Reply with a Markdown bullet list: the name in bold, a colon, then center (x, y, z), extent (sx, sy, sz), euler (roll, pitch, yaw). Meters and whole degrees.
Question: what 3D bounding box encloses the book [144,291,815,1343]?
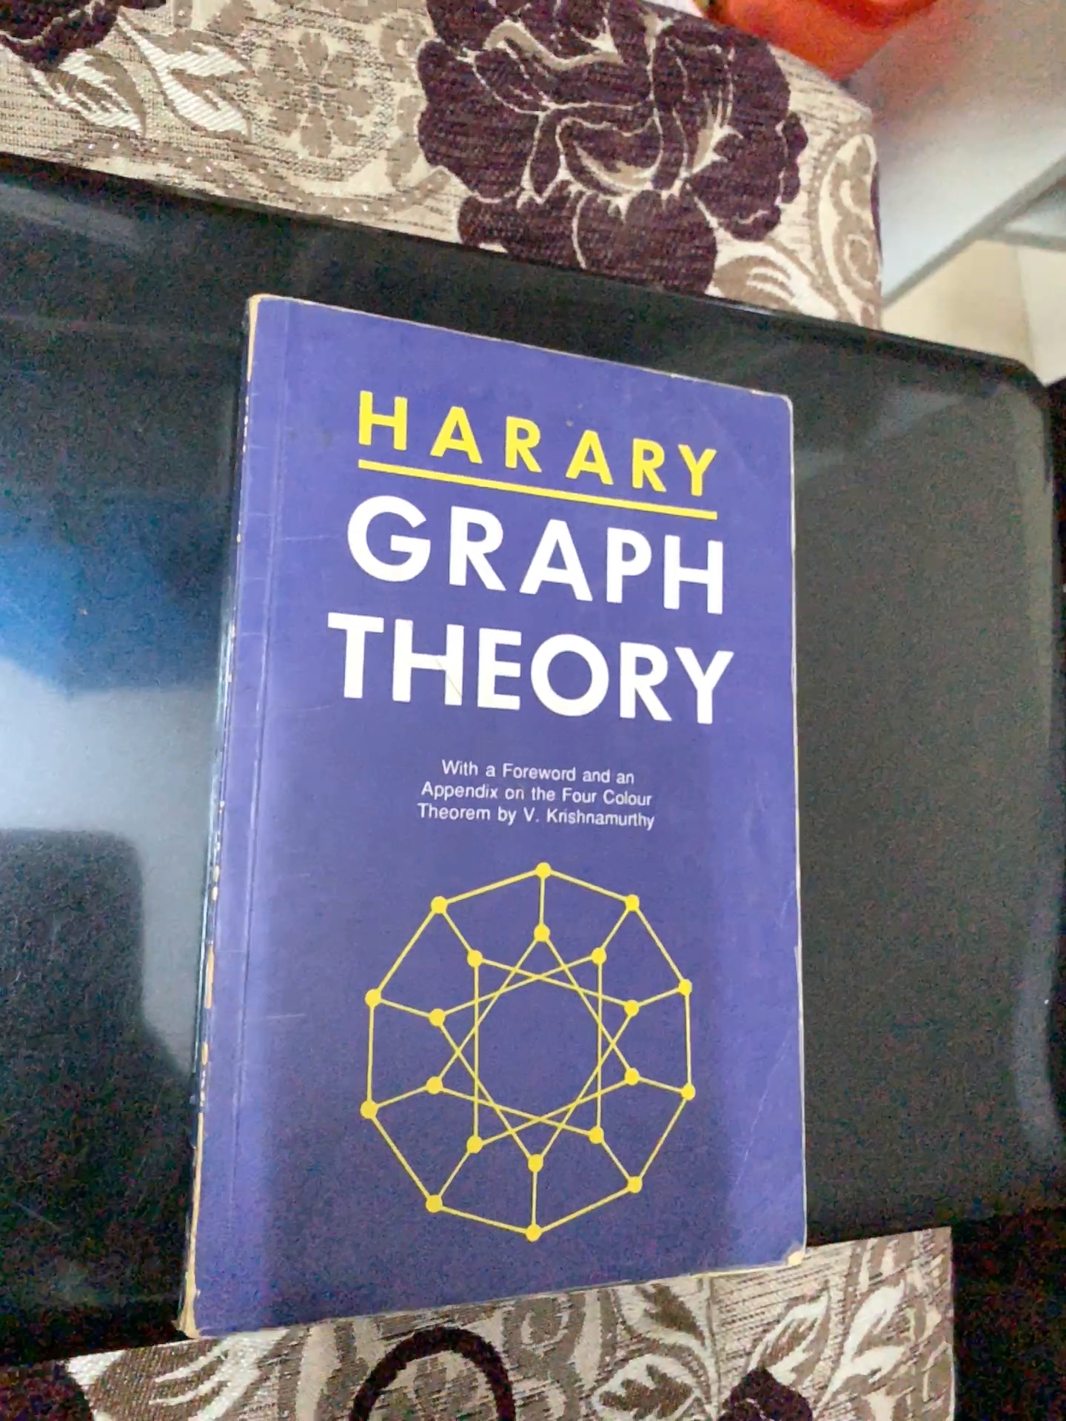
- **book**: center (-0.003, 0.020, 0.246), extent (0.140, 0.020, 0.200), euler (5, 81, -20)
